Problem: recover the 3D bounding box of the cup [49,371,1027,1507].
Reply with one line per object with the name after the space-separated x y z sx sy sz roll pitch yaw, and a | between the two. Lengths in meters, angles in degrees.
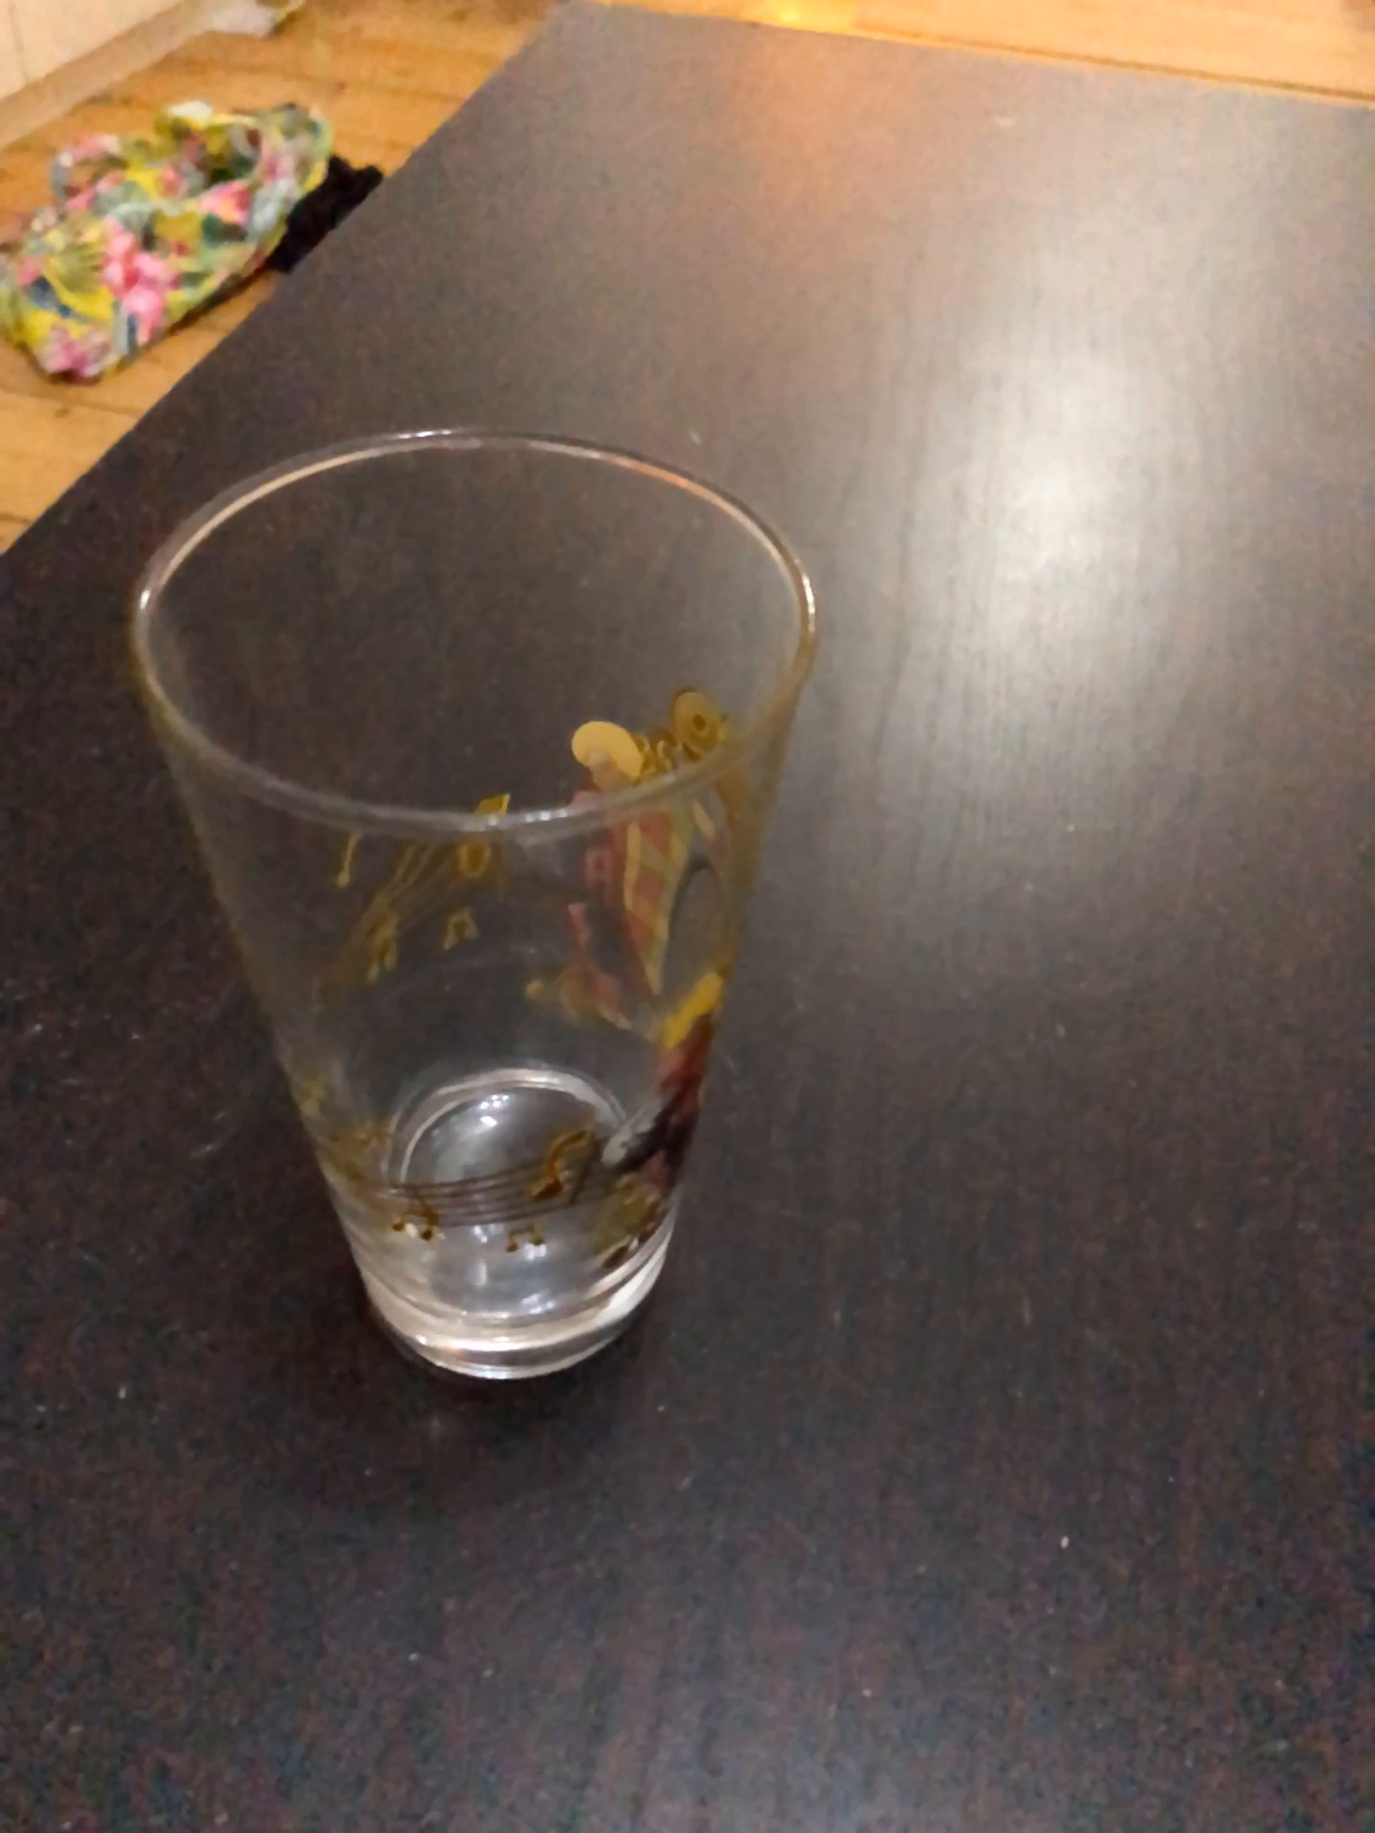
-0.022 0.003 0.206 0.080 0.109 0.080 2 45 -2 | cup
